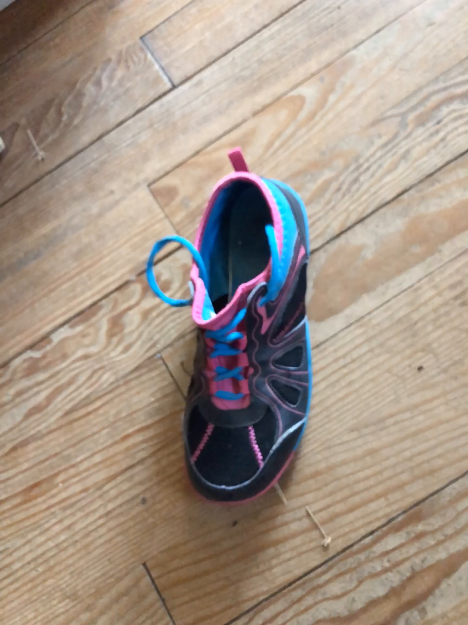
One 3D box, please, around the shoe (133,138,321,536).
[{"bbox_3d":[0.006,0.015,0.396,0.110,0.100,0.260,2,79,9],"label":"shoe"}]
